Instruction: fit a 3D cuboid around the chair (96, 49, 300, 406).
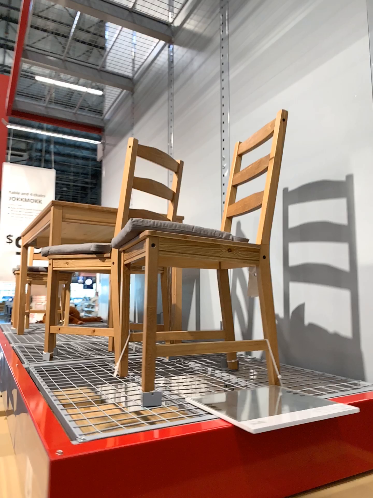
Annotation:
[{"bbox_3d":[0.012,-0.046,1.262,0.500,0.912,0.439,4,-8,-24],"label":"chair"}]
